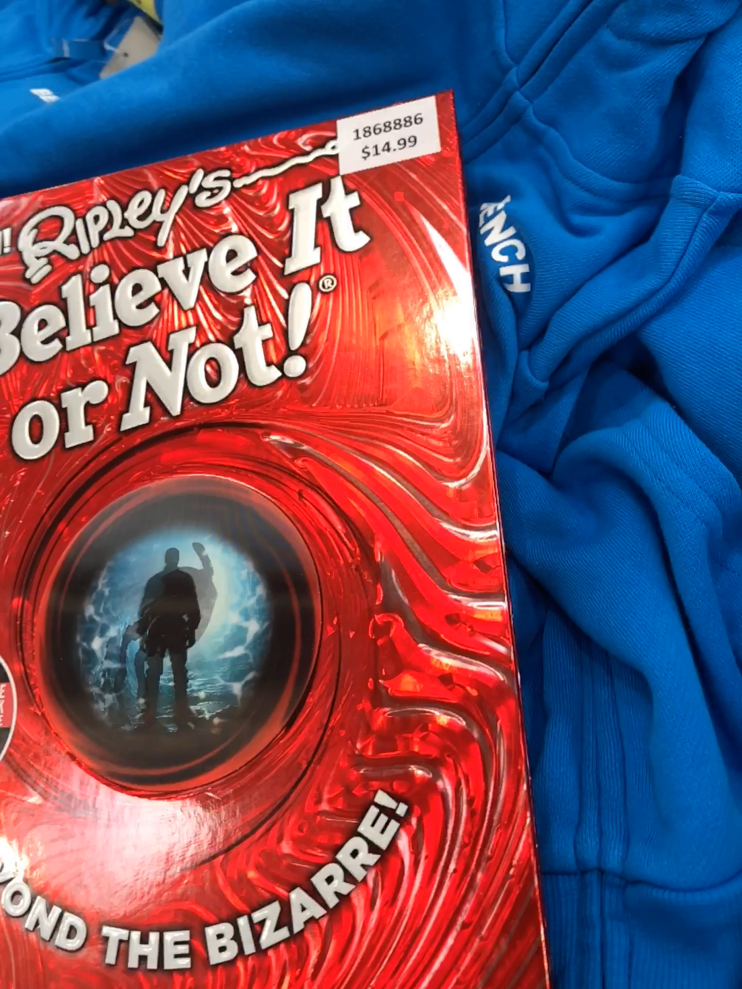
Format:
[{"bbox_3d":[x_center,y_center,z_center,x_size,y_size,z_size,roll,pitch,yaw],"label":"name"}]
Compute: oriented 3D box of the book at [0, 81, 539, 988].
[{"bbox_3d":[-0.082,0.014,0.294,0.244,0.028,0.303,-7,72,13],"label":"book"}]
